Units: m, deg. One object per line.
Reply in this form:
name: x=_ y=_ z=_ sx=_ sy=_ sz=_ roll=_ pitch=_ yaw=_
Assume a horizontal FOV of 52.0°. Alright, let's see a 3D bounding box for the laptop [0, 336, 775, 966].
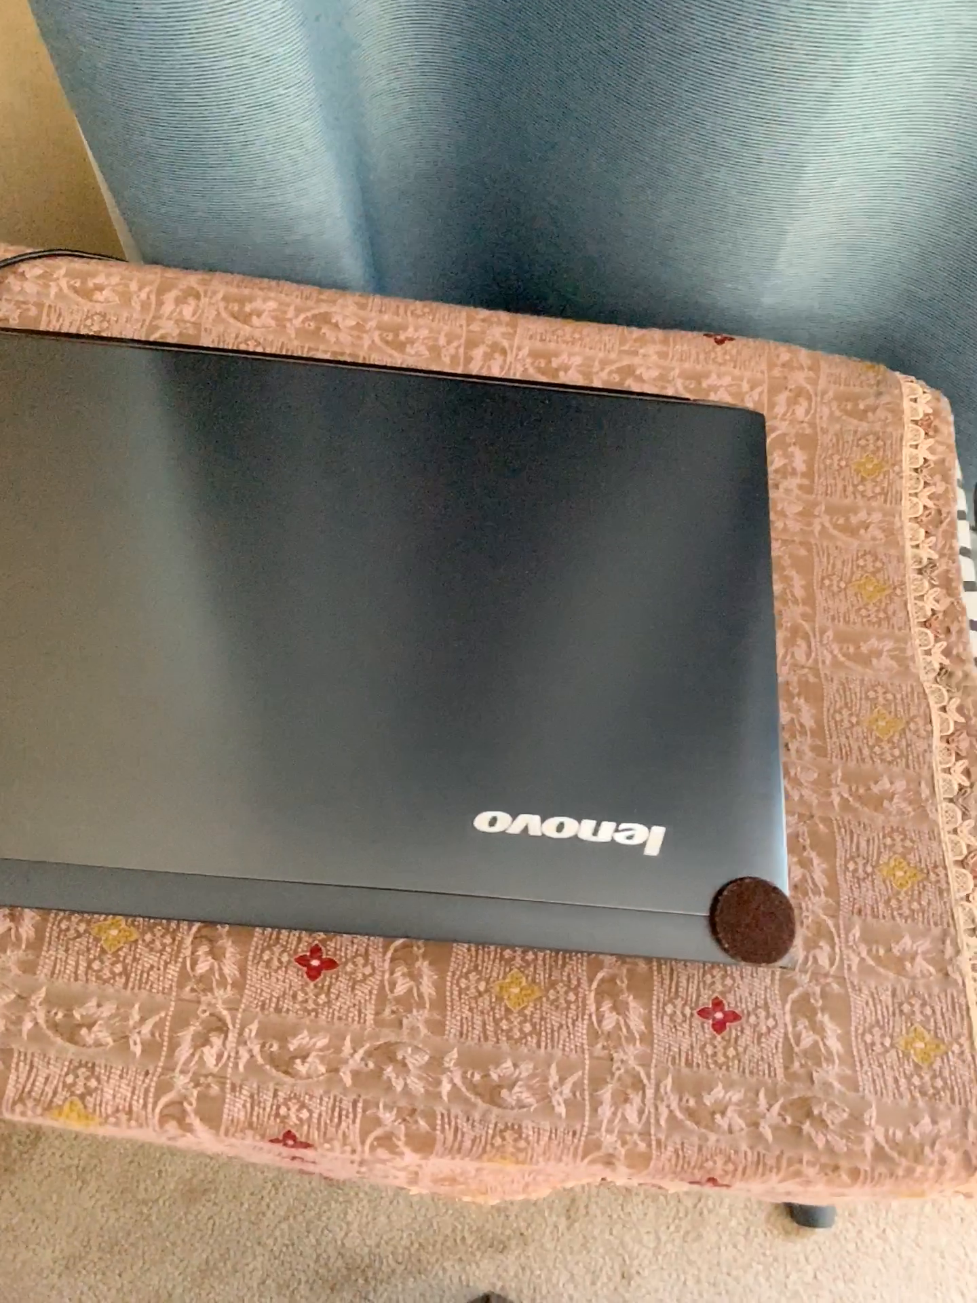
laptop: x=-0.071 y=-0.011 z=0.381 sx=0.356 sy=0.011 sz=0.223 roll=5 pitch=68 yaw=0
